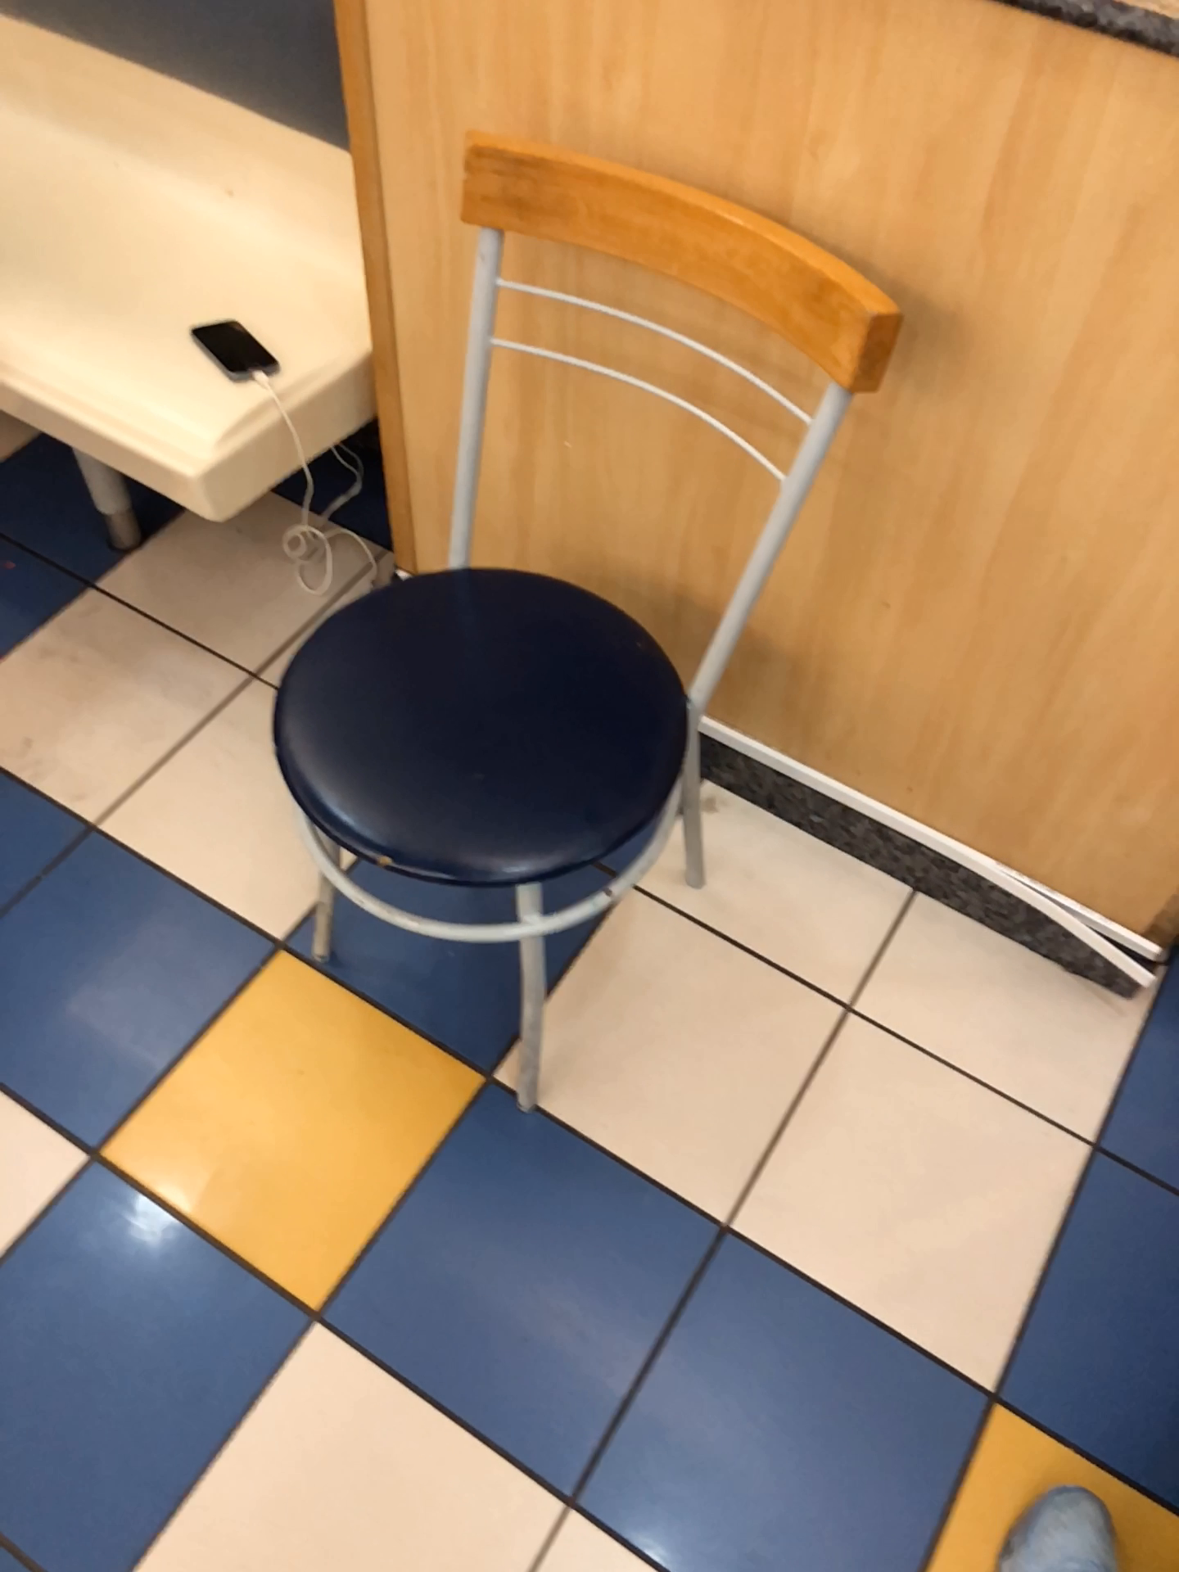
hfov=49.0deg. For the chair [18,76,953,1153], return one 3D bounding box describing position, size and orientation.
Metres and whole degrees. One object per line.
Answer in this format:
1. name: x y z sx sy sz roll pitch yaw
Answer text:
1. chair: -0.064 -0.120 1.221 0.441 0.746 0.522 29 58 18
